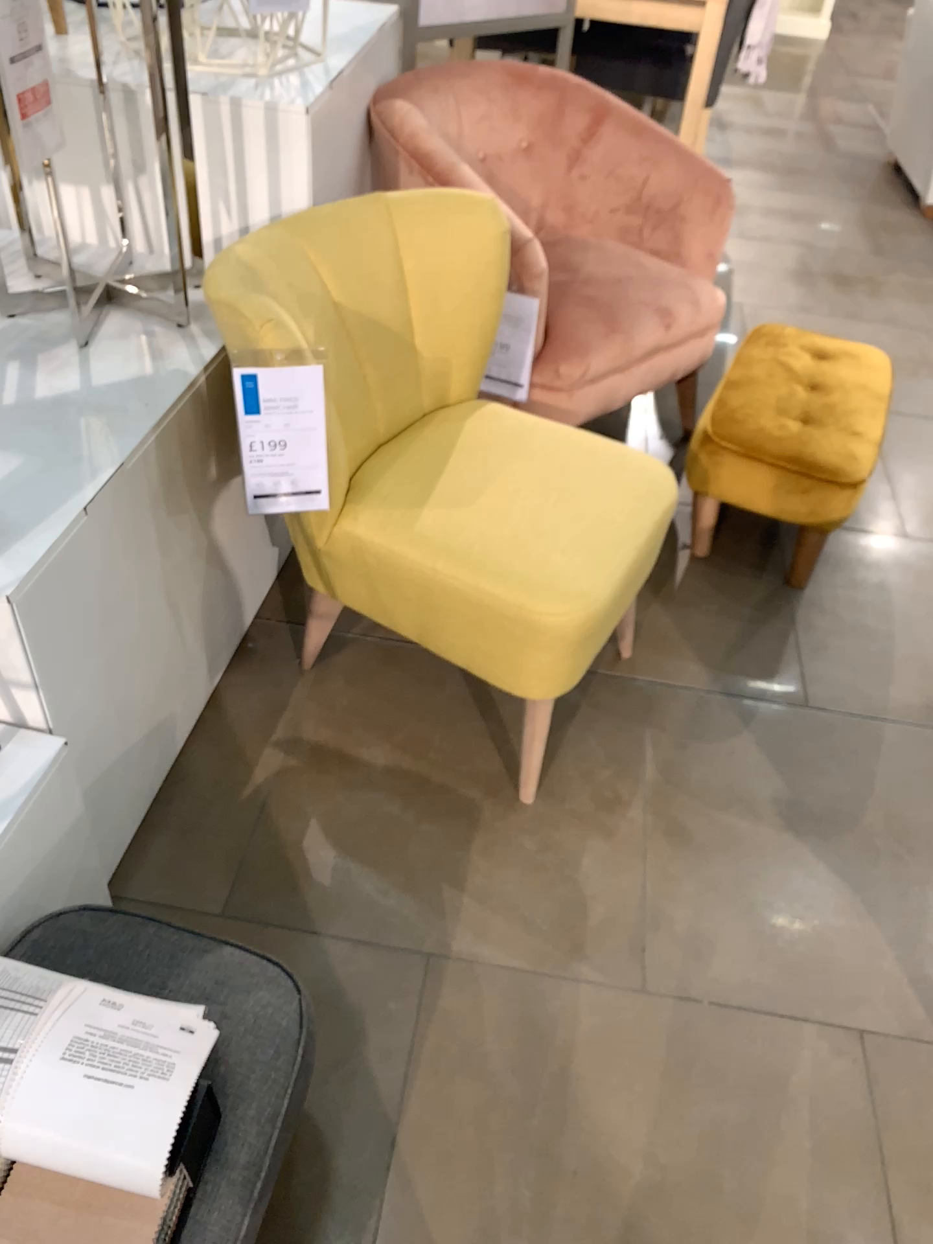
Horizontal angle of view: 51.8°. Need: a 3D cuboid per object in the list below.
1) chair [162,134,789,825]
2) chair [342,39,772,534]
[{"bbox_3d":[0.023,-0.245,1.469,0.587,0.696,0.611,24,45,20],"label":"chair"},{"bbox_3d":[0.162,-0.760,2.126,0.588,0.765,0.620,33,49,29],"label":"chair"}]
